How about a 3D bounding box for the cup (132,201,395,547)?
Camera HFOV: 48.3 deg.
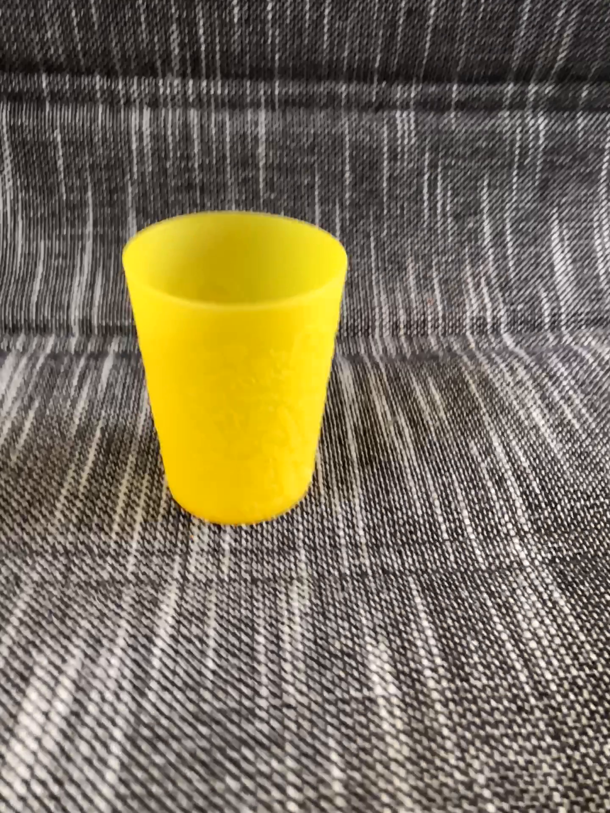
[{"bbox_3d":[-0.017,-0.011,0.206,0.060,0.079,0.060,3,37,-2],"label":"cup"}]
